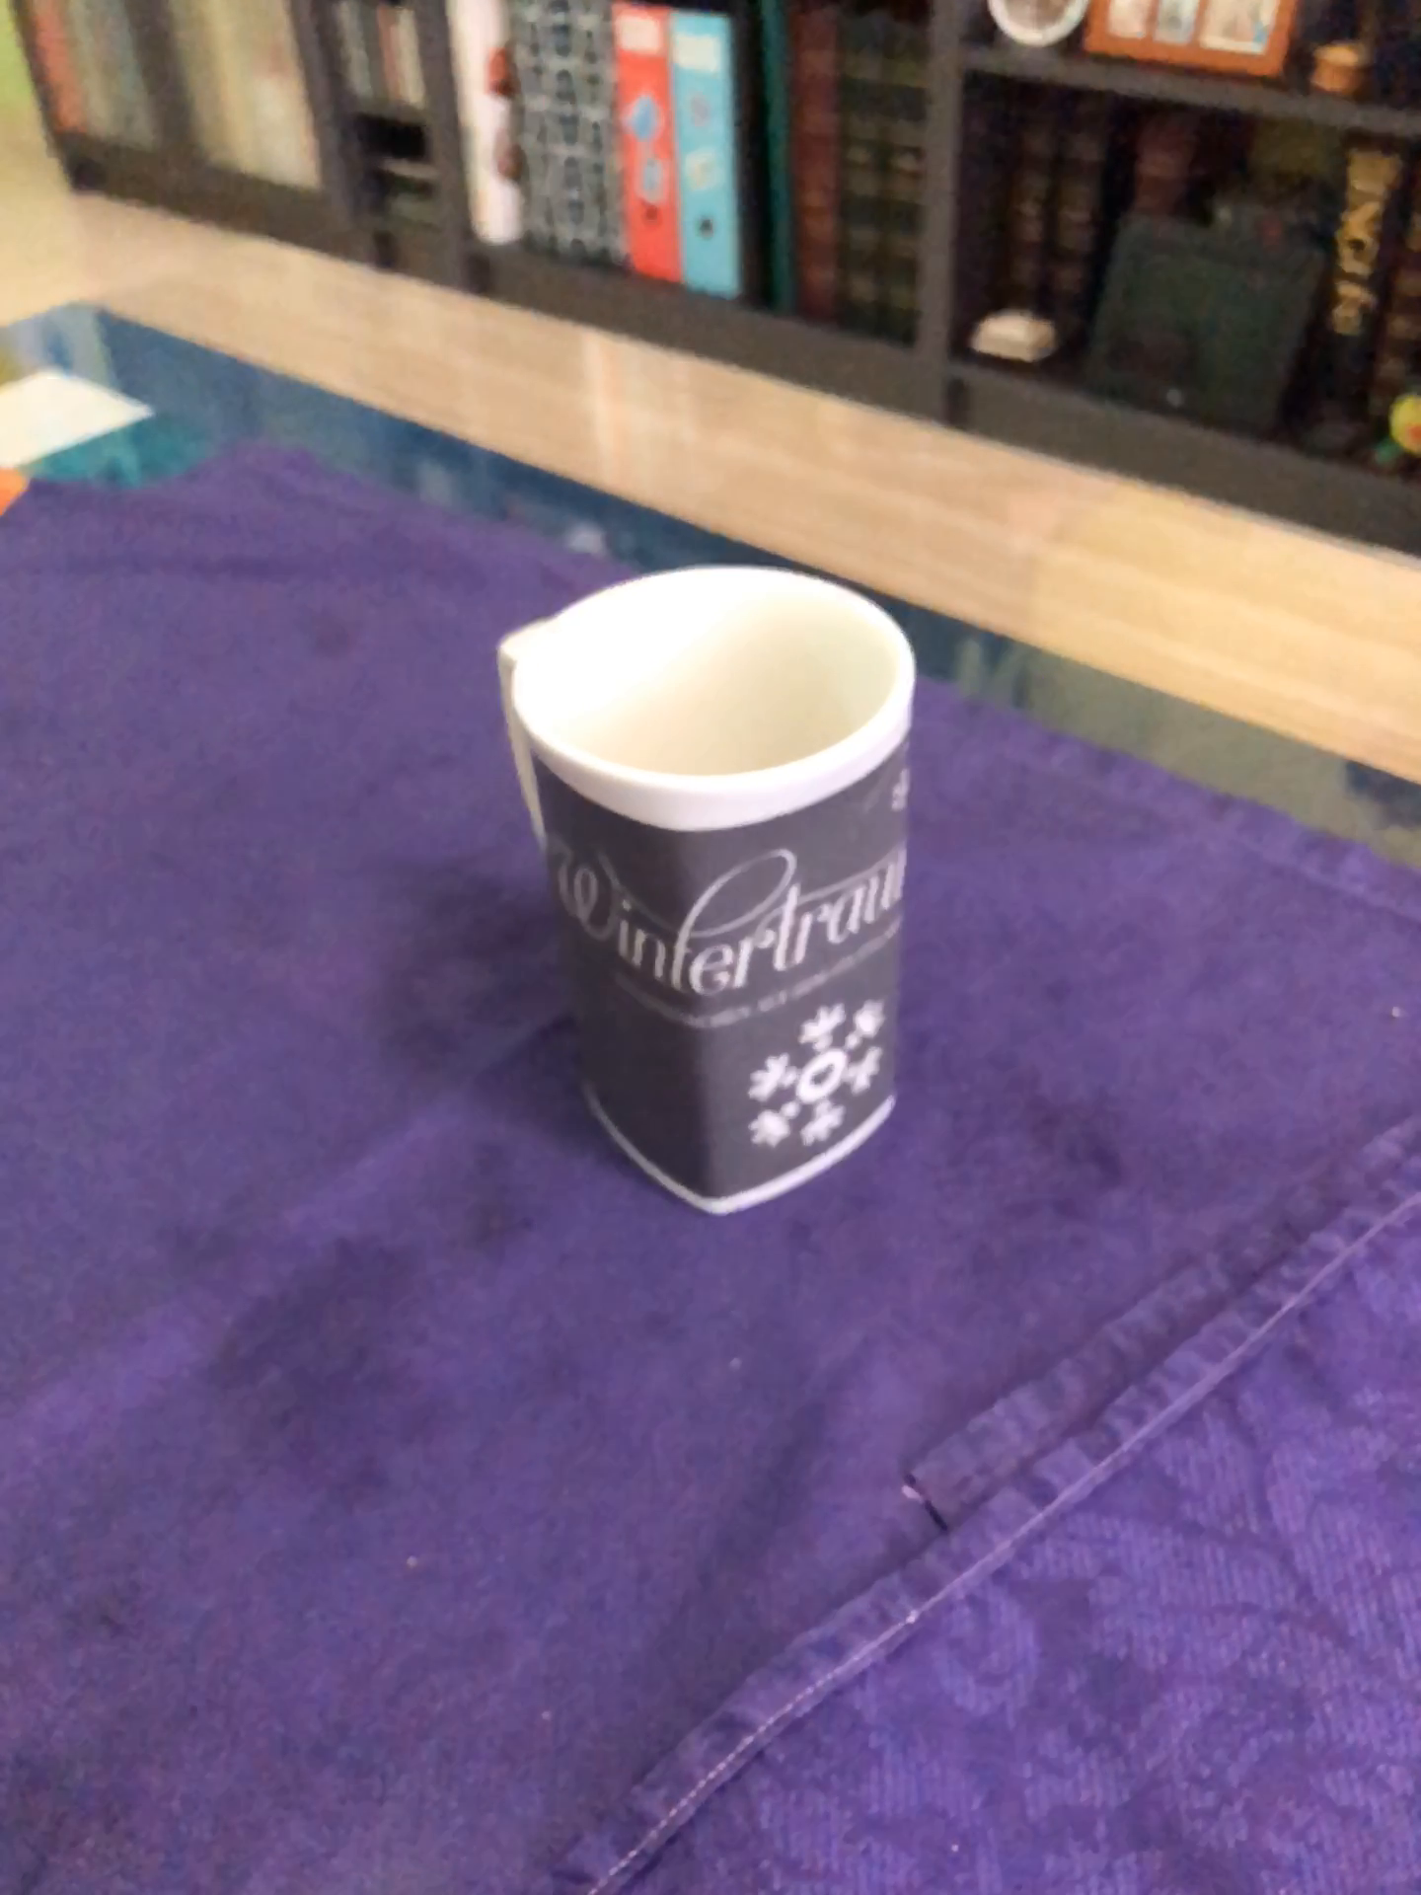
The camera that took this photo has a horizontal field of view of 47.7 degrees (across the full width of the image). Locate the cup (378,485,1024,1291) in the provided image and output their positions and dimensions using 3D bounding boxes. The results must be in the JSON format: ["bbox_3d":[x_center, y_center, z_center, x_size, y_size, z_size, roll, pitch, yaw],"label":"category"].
[{"bbox_3d":[-0.002,-0.015,0.323,0.070,0.110,0.100,-28,46,-25],"label":"cup"}]
